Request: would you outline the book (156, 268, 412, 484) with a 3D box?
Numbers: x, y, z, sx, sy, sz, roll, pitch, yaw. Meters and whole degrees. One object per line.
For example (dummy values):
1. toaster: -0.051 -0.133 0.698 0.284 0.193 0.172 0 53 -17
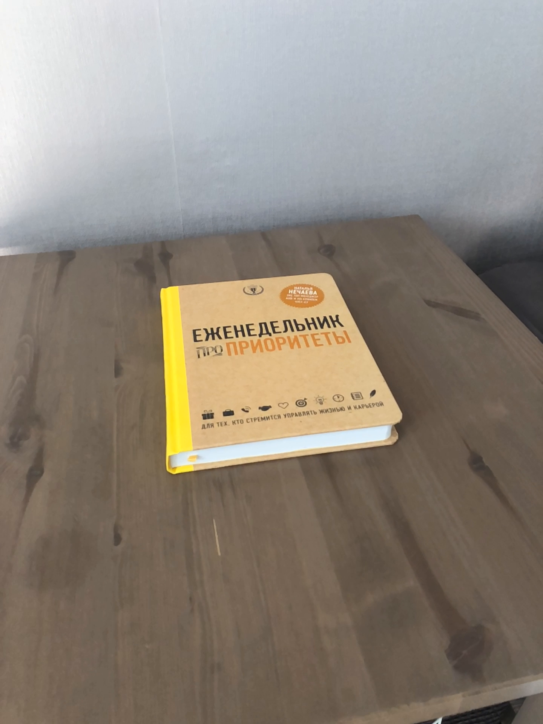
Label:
1. book: -0.005 -0.004 0.528 0.180 0.032 0.230 -7 39 -8
